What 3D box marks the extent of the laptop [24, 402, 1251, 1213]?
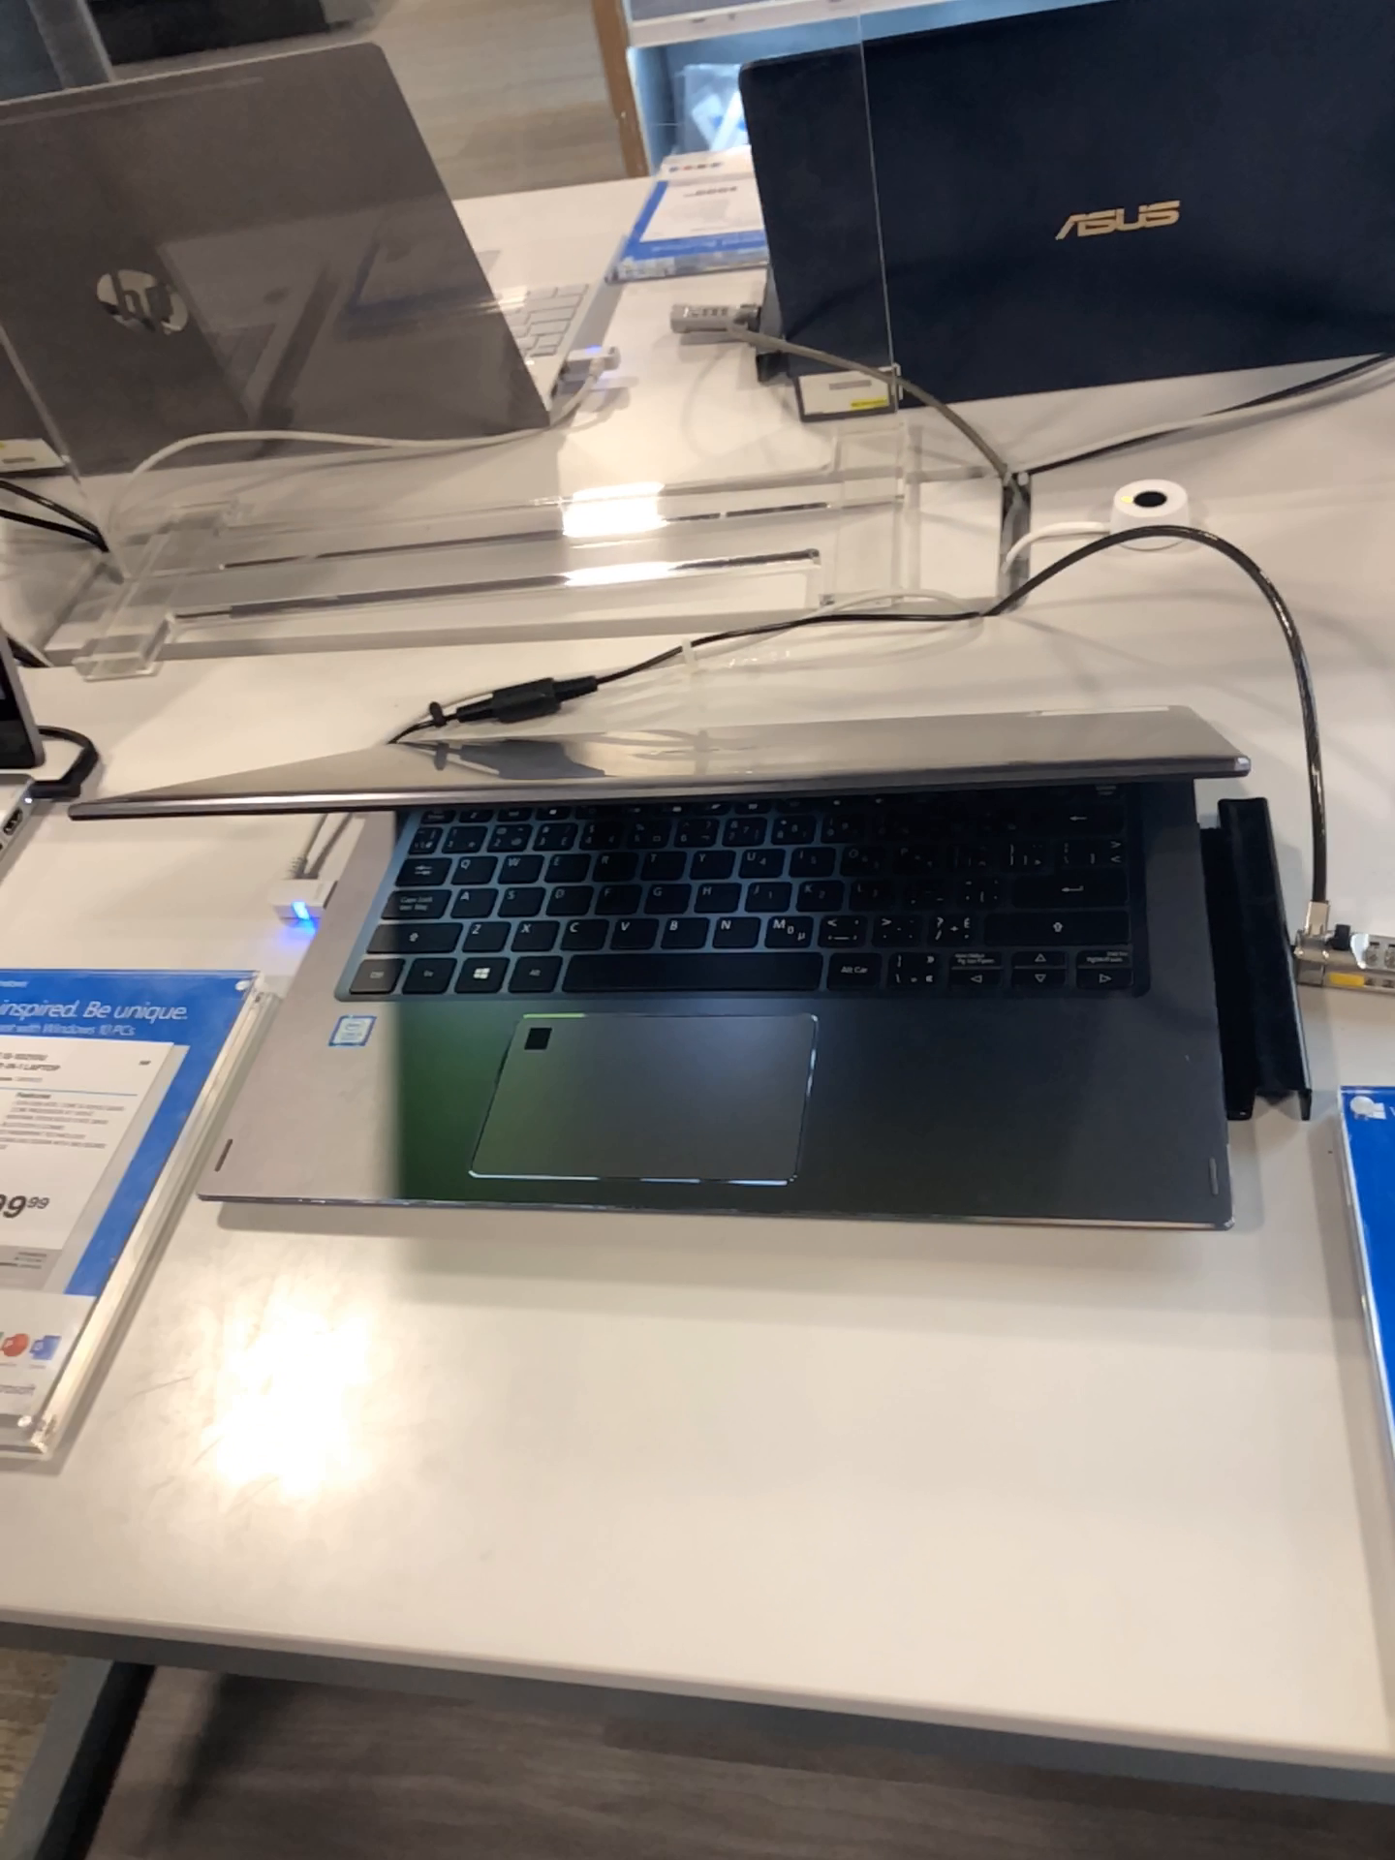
[{"bbox_3d":[0.001,-0.040,0.476,0.301,0.123,0.212,-1,46,14],"label":"laptop"}]
